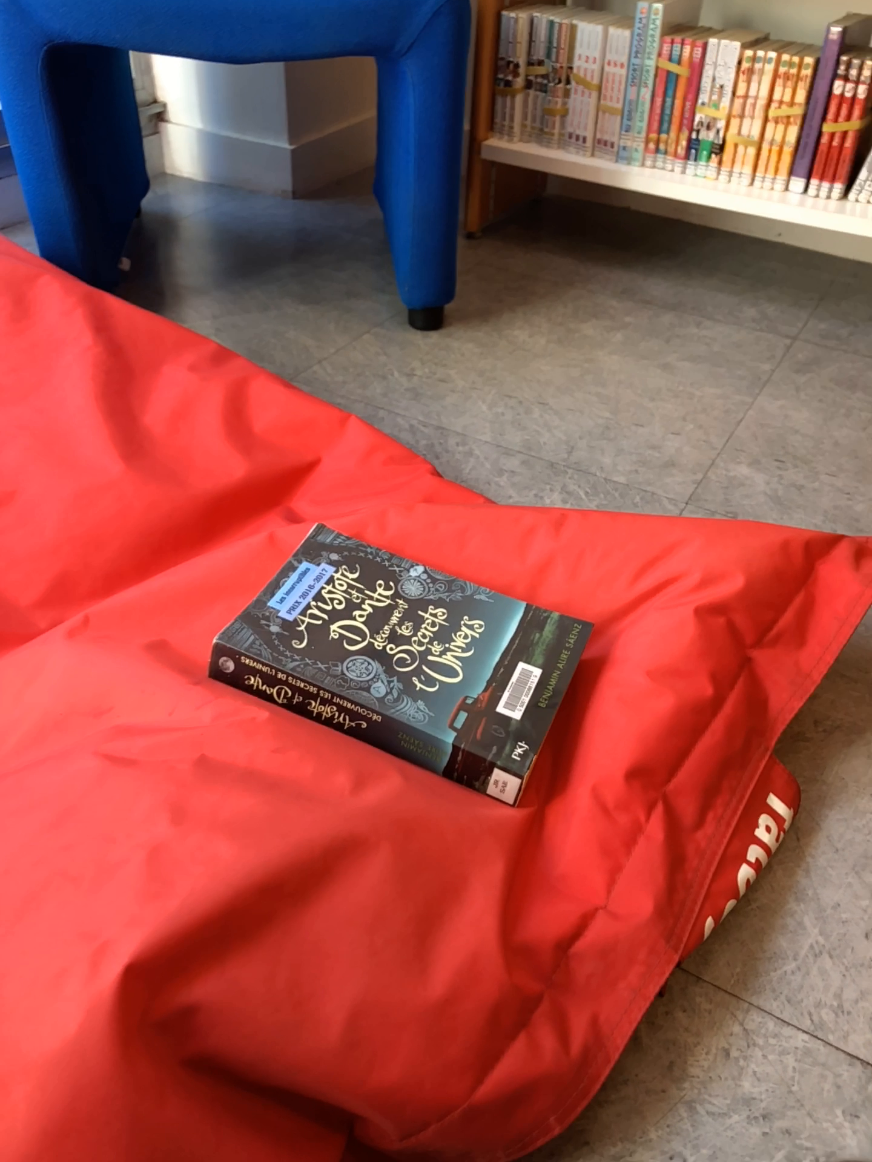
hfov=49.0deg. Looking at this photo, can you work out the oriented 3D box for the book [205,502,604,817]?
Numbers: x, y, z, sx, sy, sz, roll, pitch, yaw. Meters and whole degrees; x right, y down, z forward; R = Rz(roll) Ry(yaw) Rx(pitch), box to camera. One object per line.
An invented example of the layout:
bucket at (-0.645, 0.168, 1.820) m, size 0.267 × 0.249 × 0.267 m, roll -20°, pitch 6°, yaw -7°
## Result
book at (-0.019, 0.045, 0.664) m, size 0.228 × 0.048 × 0.149 m, roll 22°, pitch 47°, yaw 13°
